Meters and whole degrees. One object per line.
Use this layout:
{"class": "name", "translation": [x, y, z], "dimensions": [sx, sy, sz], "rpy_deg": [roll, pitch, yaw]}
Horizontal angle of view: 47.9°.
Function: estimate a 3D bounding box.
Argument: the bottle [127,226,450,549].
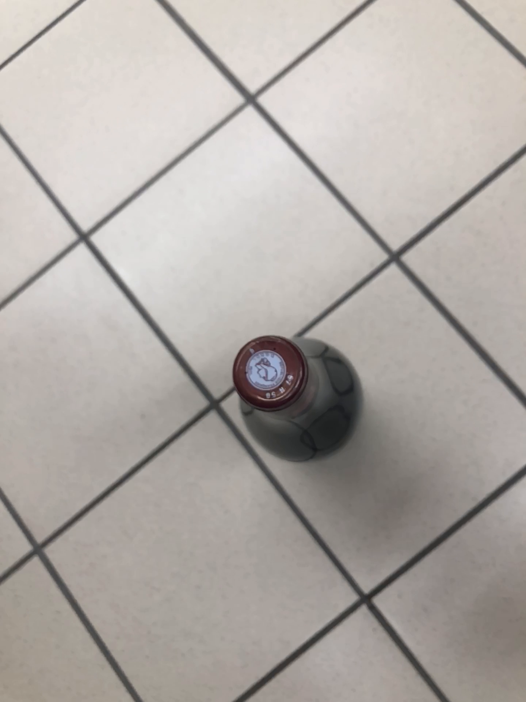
{"class": "bottle", "translation": [0.028, 0.032, 0.358], "dimensions": [0.090, 0.290, 0.090], "rpy_deg": [-1, 81, 8]}
